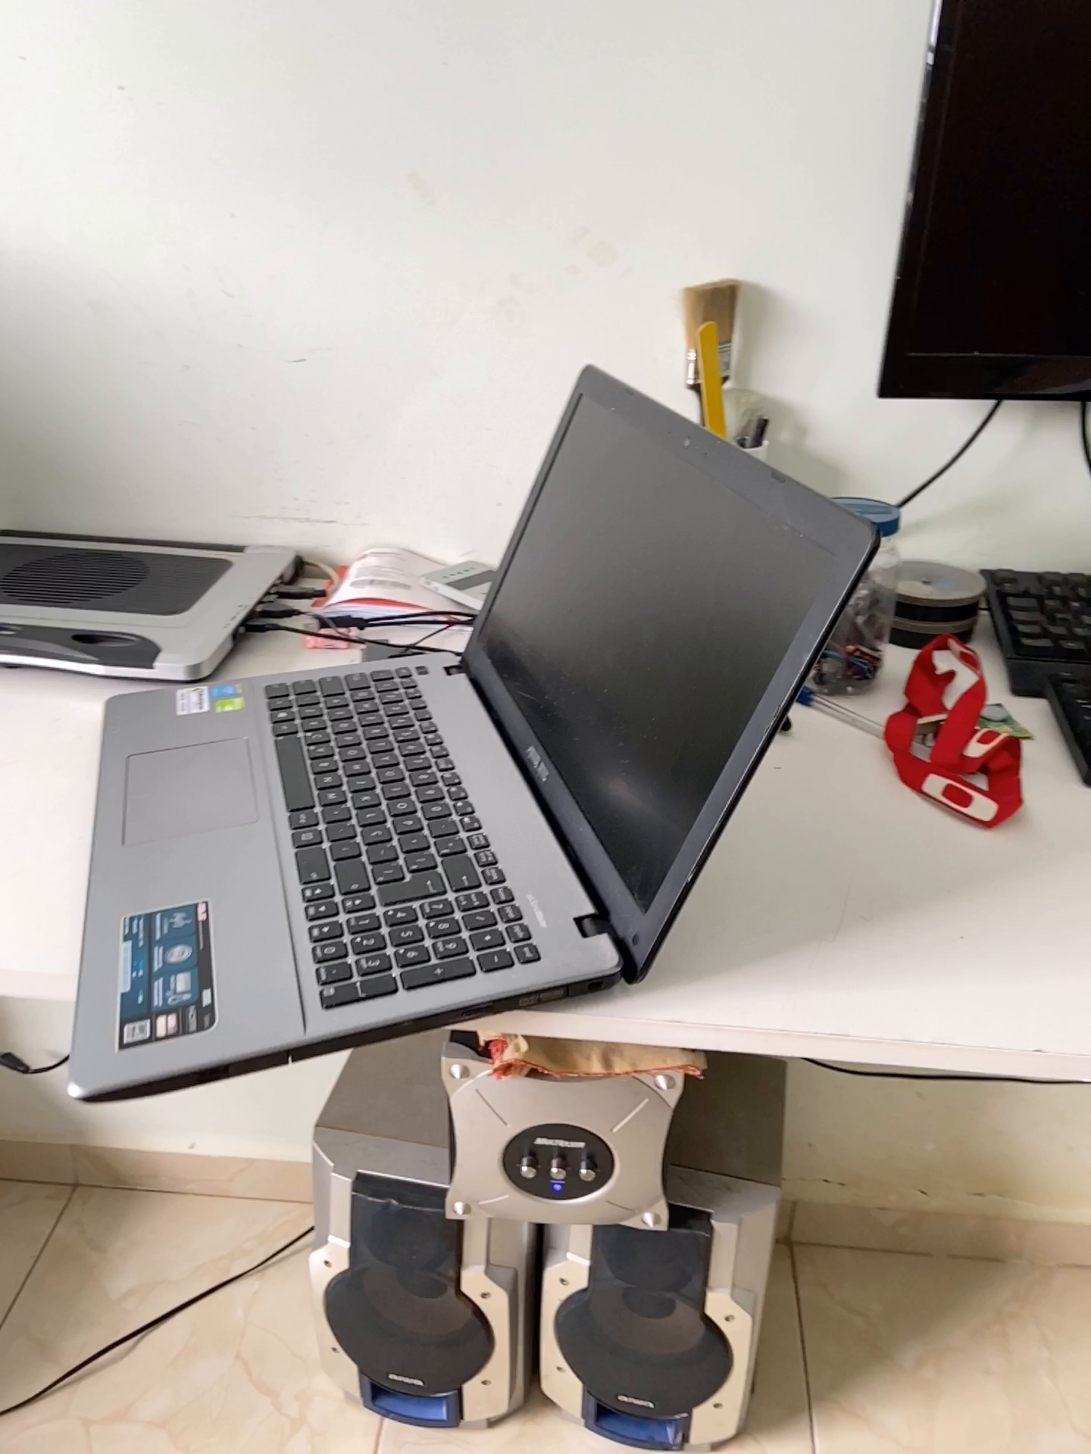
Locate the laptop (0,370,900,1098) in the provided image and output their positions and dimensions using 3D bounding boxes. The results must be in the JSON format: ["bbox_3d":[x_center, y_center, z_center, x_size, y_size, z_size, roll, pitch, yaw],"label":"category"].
[{"bbox_3d":[-0.080,-0.047,0.627,0.356,0.213,0.377,-8,29,-15],"label":"laptop"}]
